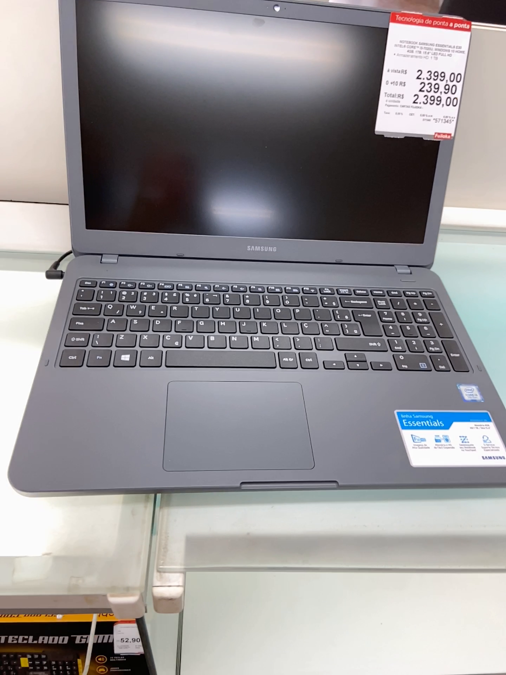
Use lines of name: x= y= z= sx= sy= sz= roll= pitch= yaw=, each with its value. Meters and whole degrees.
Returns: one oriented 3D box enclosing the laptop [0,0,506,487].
laptop: x=0.024 y=-0.094 z=0.407 sx=0.360 sy=0.197 sz=0.353 roll=1 pitch=46 yaw=-7
